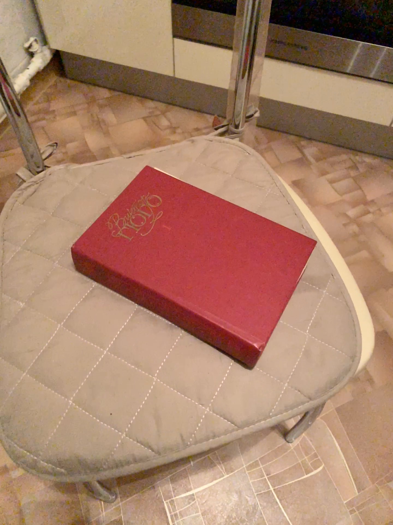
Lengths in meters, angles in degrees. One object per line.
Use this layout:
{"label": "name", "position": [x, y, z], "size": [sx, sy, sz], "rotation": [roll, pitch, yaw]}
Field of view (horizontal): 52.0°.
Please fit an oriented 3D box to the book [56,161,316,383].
{"label": "book", "position": [-0.008, 0.000, 0.402], "size": [0.200, 0.060, 0.141], "rotation": [26, 60, 15]}
